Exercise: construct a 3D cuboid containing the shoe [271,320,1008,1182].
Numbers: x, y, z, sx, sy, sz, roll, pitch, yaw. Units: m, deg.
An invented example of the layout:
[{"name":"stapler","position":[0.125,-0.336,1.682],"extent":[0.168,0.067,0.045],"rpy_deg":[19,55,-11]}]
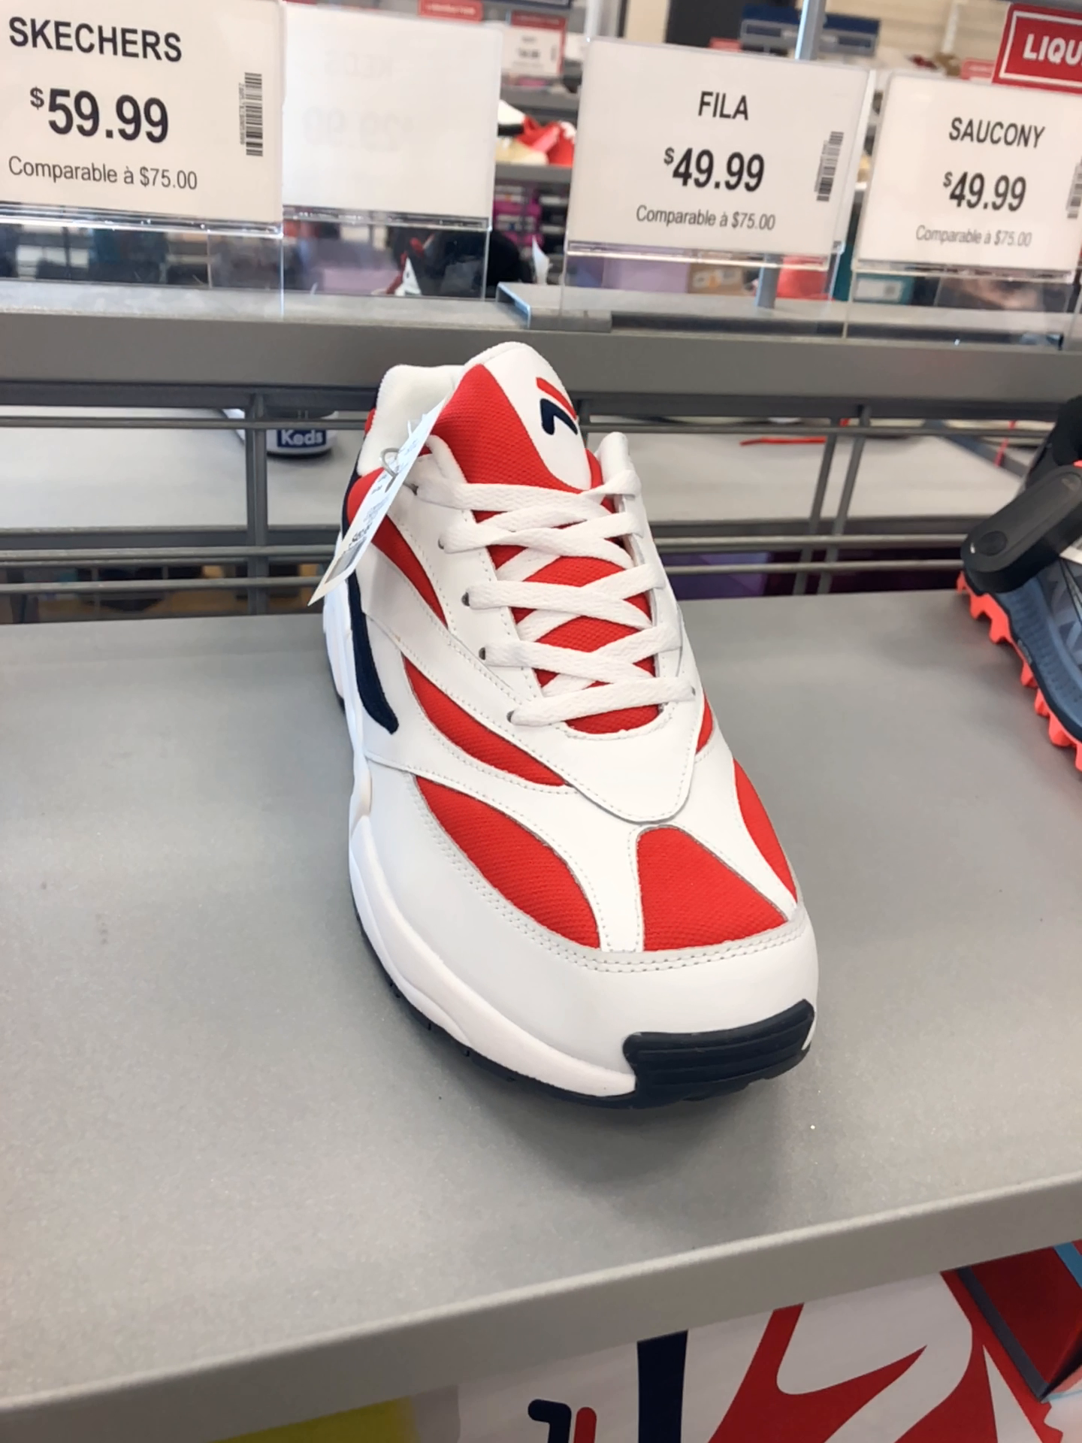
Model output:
[{"name":"shoe","position":[-0.007,-0.023,0.371],"extent":[0.120,0.129,0.272],"rpy_deg":[-4,32,-18]}]
